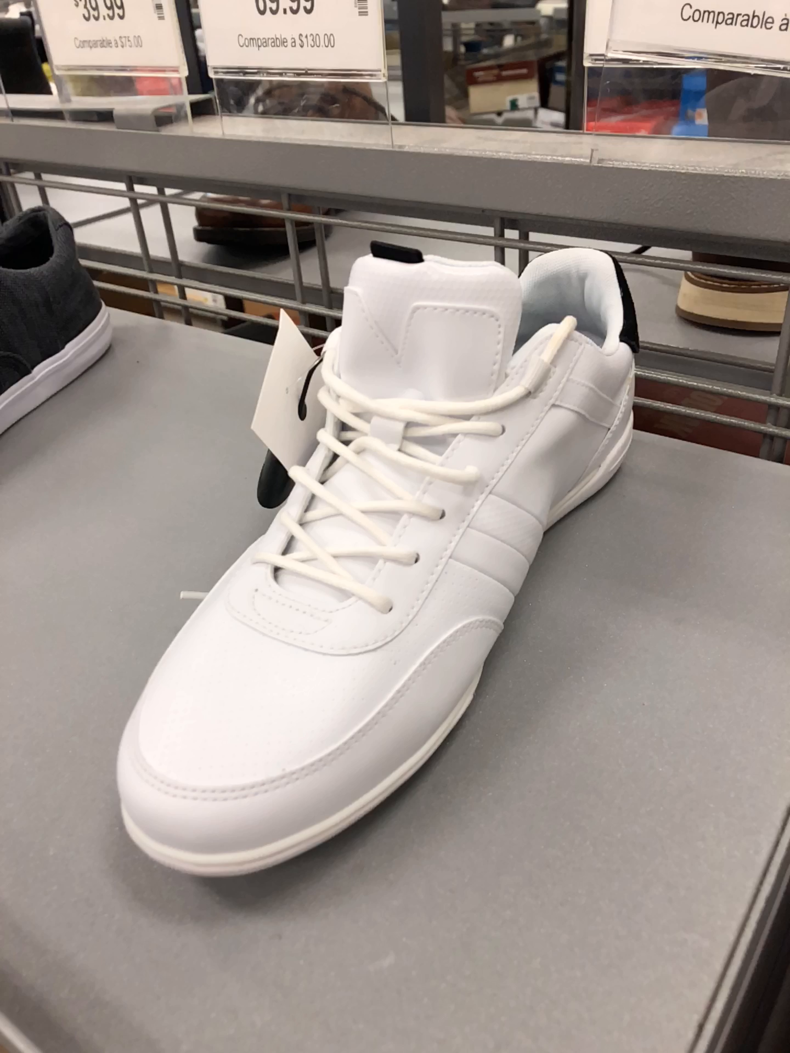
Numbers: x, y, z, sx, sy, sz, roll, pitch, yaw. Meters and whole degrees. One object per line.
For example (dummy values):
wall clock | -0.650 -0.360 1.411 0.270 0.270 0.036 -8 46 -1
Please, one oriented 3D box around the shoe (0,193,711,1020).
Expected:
shoe | 0.007 -0.015 0.294 0.110 0.119 0.272 15 38 28
